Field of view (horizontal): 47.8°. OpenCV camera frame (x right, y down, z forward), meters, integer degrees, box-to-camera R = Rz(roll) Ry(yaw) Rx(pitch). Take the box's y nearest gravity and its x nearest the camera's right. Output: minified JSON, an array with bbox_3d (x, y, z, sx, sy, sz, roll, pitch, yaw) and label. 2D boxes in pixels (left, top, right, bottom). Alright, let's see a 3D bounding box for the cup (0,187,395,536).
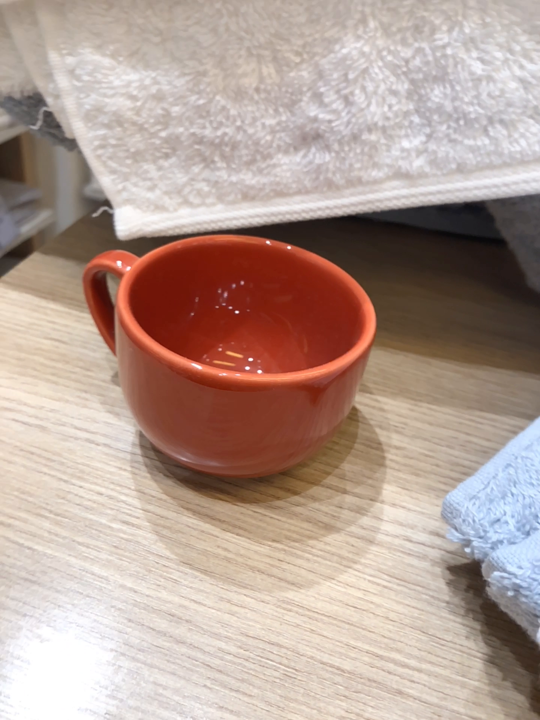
[{"bbox_3d":[-0.022,-0.007,0.202,0.100,0.050,0.081,20,39,13],"label":"cup"}]
